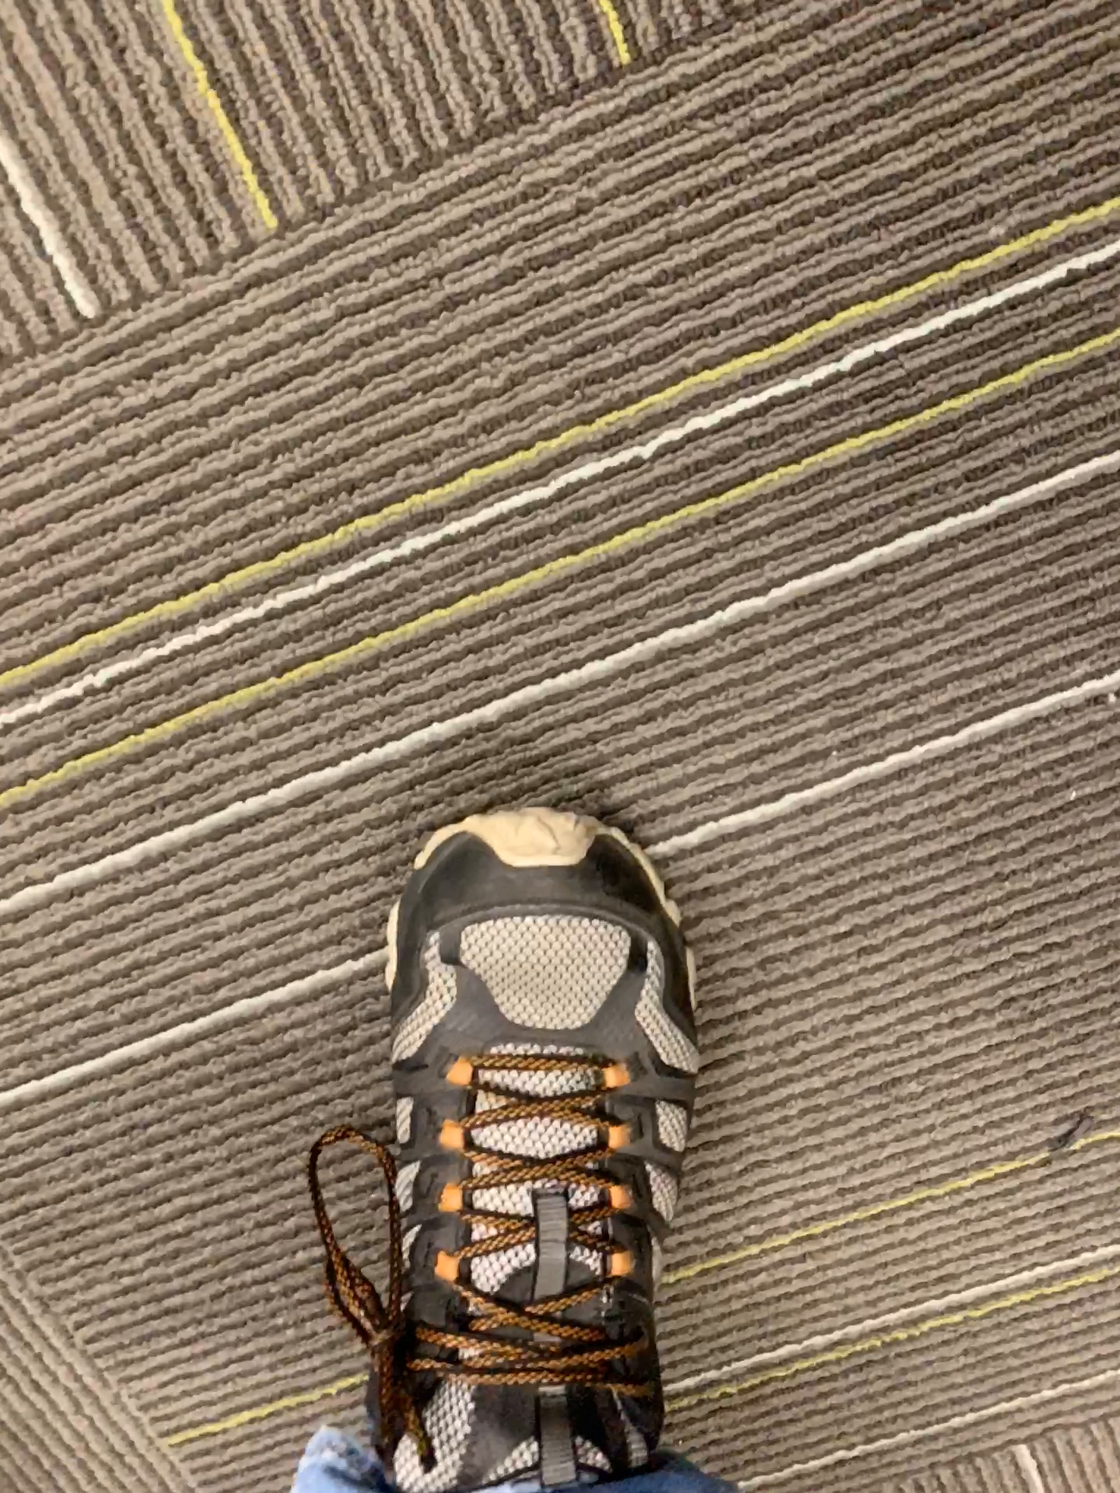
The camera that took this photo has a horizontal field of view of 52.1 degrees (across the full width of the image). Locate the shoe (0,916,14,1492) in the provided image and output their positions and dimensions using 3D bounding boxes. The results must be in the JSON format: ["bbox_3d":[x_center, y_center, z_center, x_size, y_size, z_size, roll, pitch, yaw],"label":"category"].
[{"bbox_3d":[-0.372,0.242,0.456,0.125,0.095,0.324,-18,112,5],"label":"shoe"}]

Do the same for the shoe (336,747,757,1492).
[{"bbox_3d":[-0.011,0.168,0.439,0.122,0.095,0.323,1,113,-3],"label":"shoe"}]
